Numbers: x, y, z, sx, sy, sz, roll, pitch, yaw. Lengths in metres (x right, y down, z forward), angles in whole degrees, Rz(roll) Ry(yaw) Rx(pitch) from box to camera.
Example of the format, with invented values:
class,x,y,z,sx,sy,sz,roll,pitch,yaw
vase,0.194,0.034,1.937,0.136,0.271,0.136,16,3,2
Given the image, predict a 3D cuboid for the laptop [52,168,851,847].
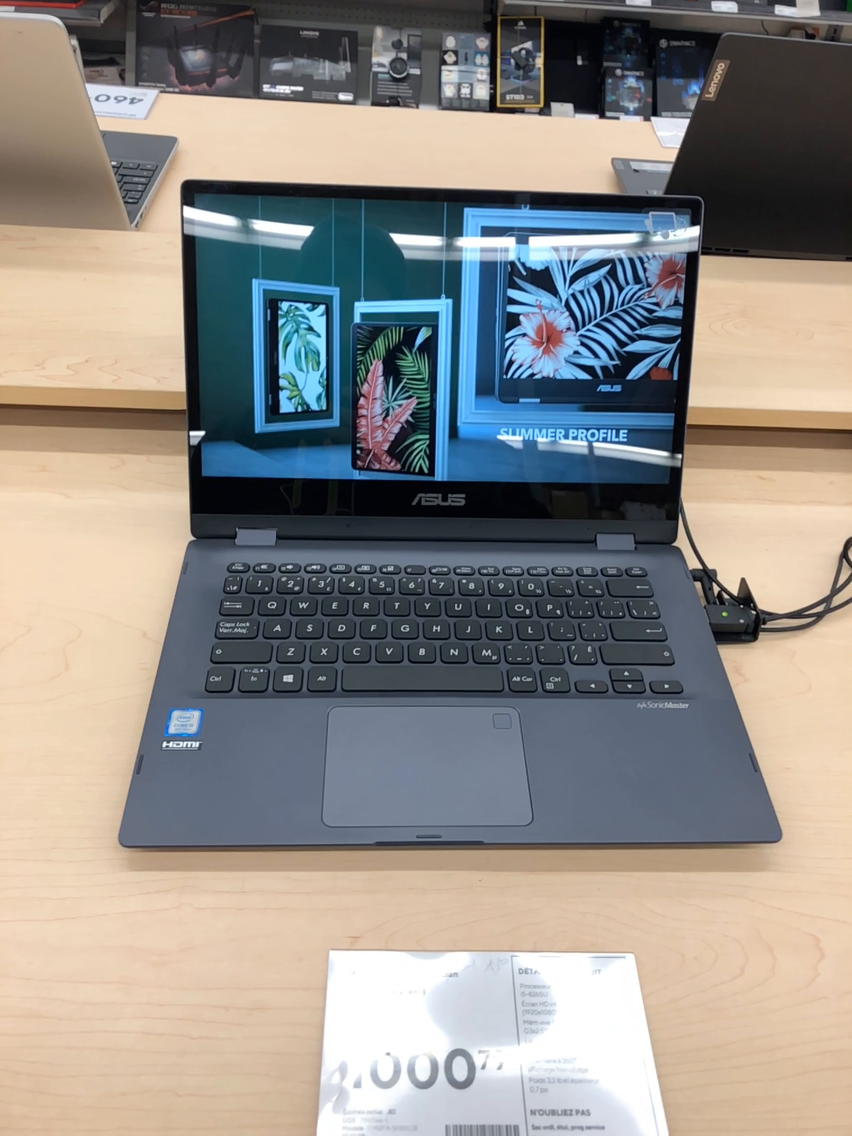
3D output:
class,x,y,z,sx,sy,sz,roll,pitch,yaw
laptop,0.013,-0.050,0.519,0.319,0.184,0.332,1,44,-4
